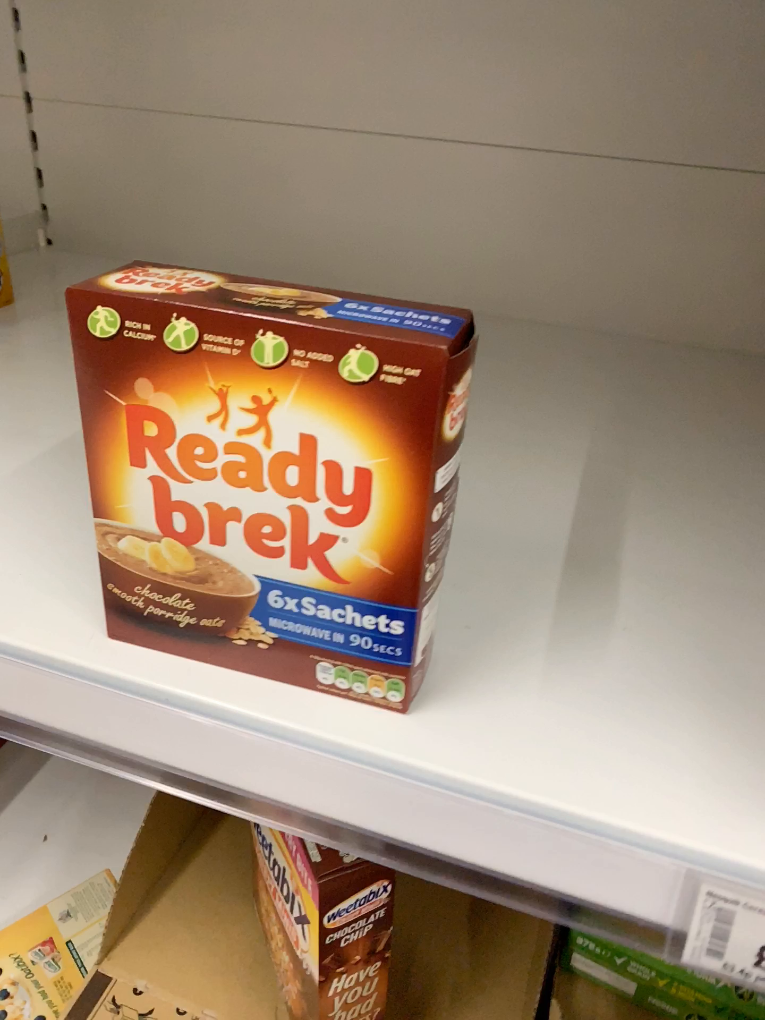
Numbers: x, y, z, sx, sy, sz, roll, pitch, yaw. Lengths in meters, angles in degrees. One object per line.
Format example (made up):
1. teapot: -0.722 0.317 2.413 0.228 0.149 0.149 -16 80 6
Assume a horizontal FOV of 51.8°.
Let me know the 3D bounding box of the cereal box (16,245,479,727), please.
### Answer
1. cereal box: -0.060 -0.011 0.371 0.180 0.188 0.061 12 30 12
